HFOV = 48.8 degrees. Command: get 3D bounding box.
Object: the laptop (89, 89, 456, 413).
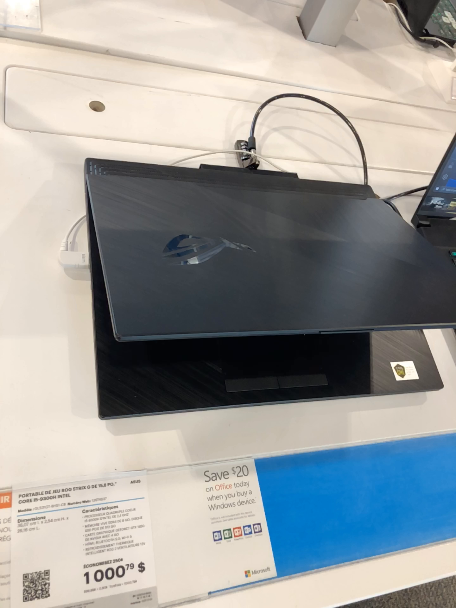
[{"bbox_3d":[0.046,-0.053,0.480,0.331,0.097,0.263,0,62,-19],"label":"laptop"}]
